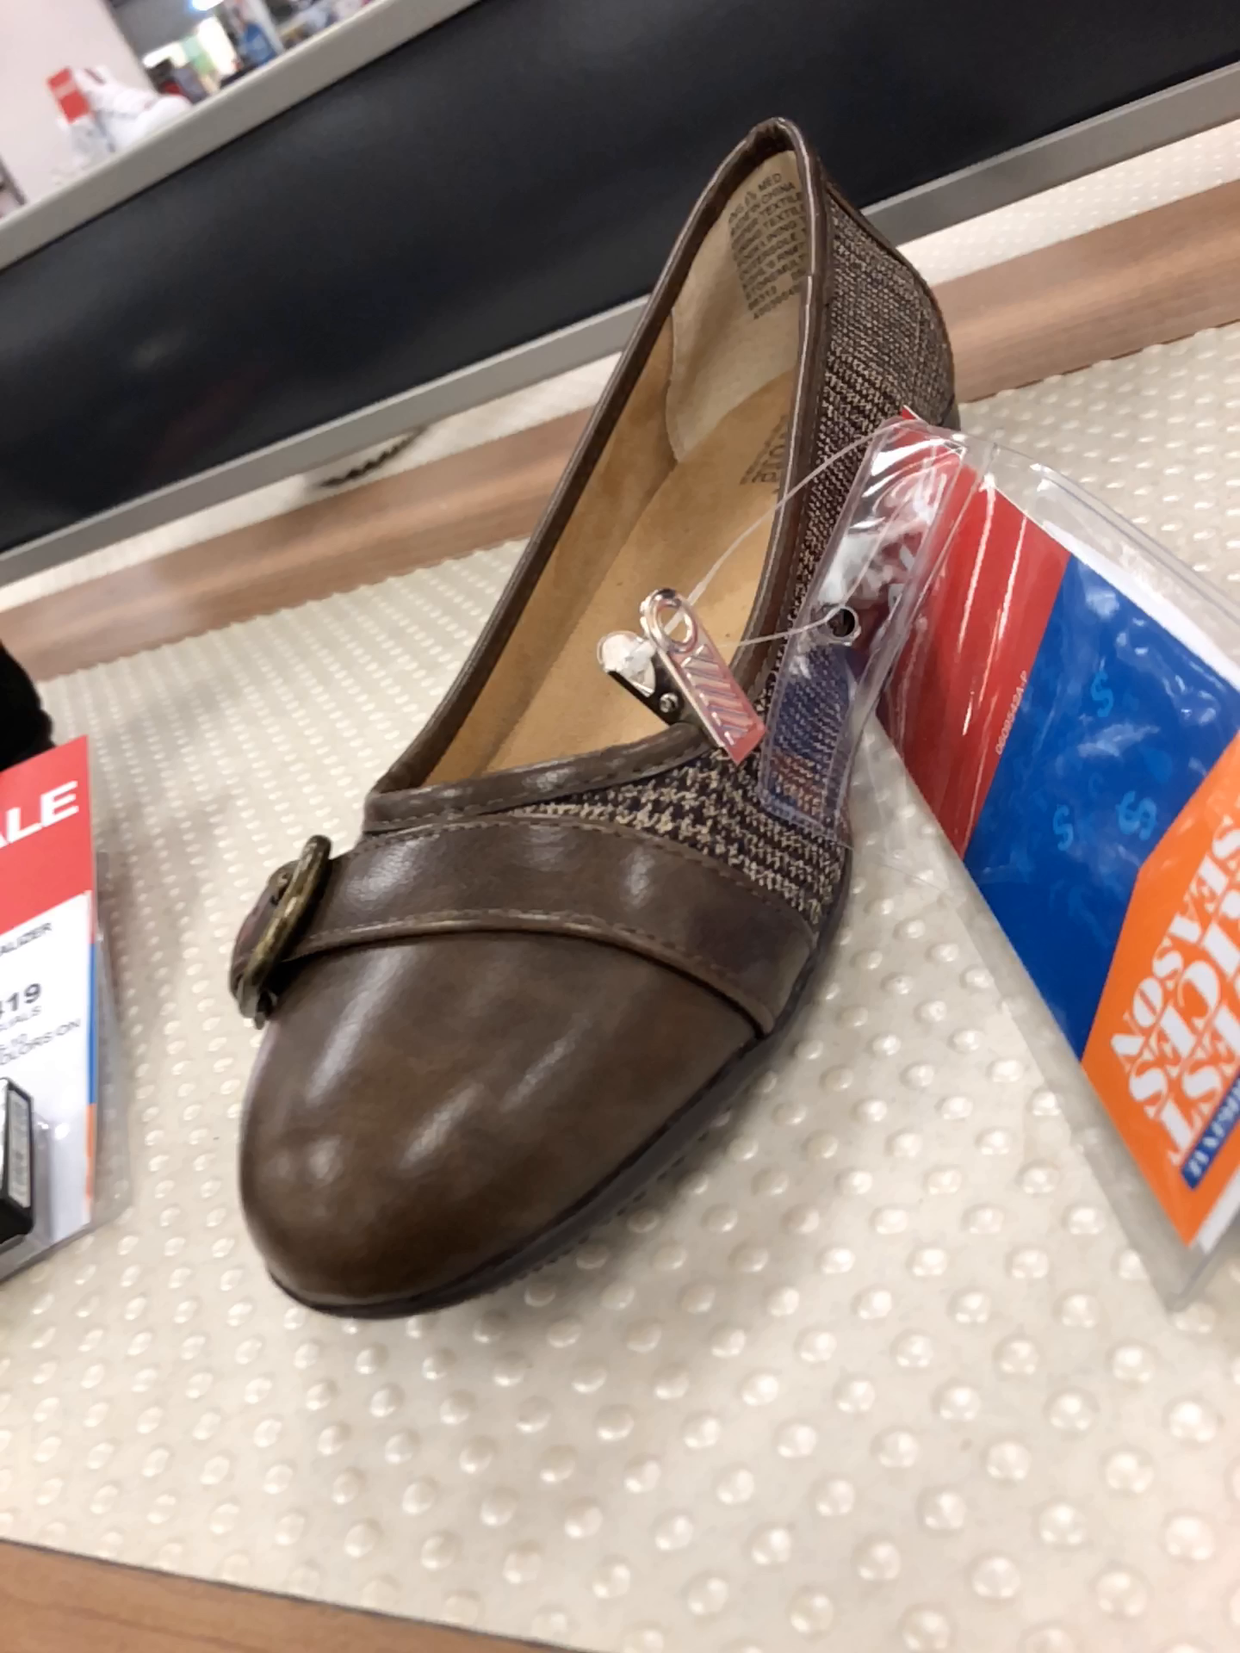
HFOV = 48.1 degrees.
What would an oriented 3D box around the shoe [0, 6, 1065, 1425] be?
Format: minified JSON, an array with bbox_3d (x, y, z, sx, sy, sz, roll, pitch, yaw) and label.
[{"bbox_3d":[0.005,-0.051,0.250,0.093,0.080,0.279,-8,37,33],"label":"shoe"}]
